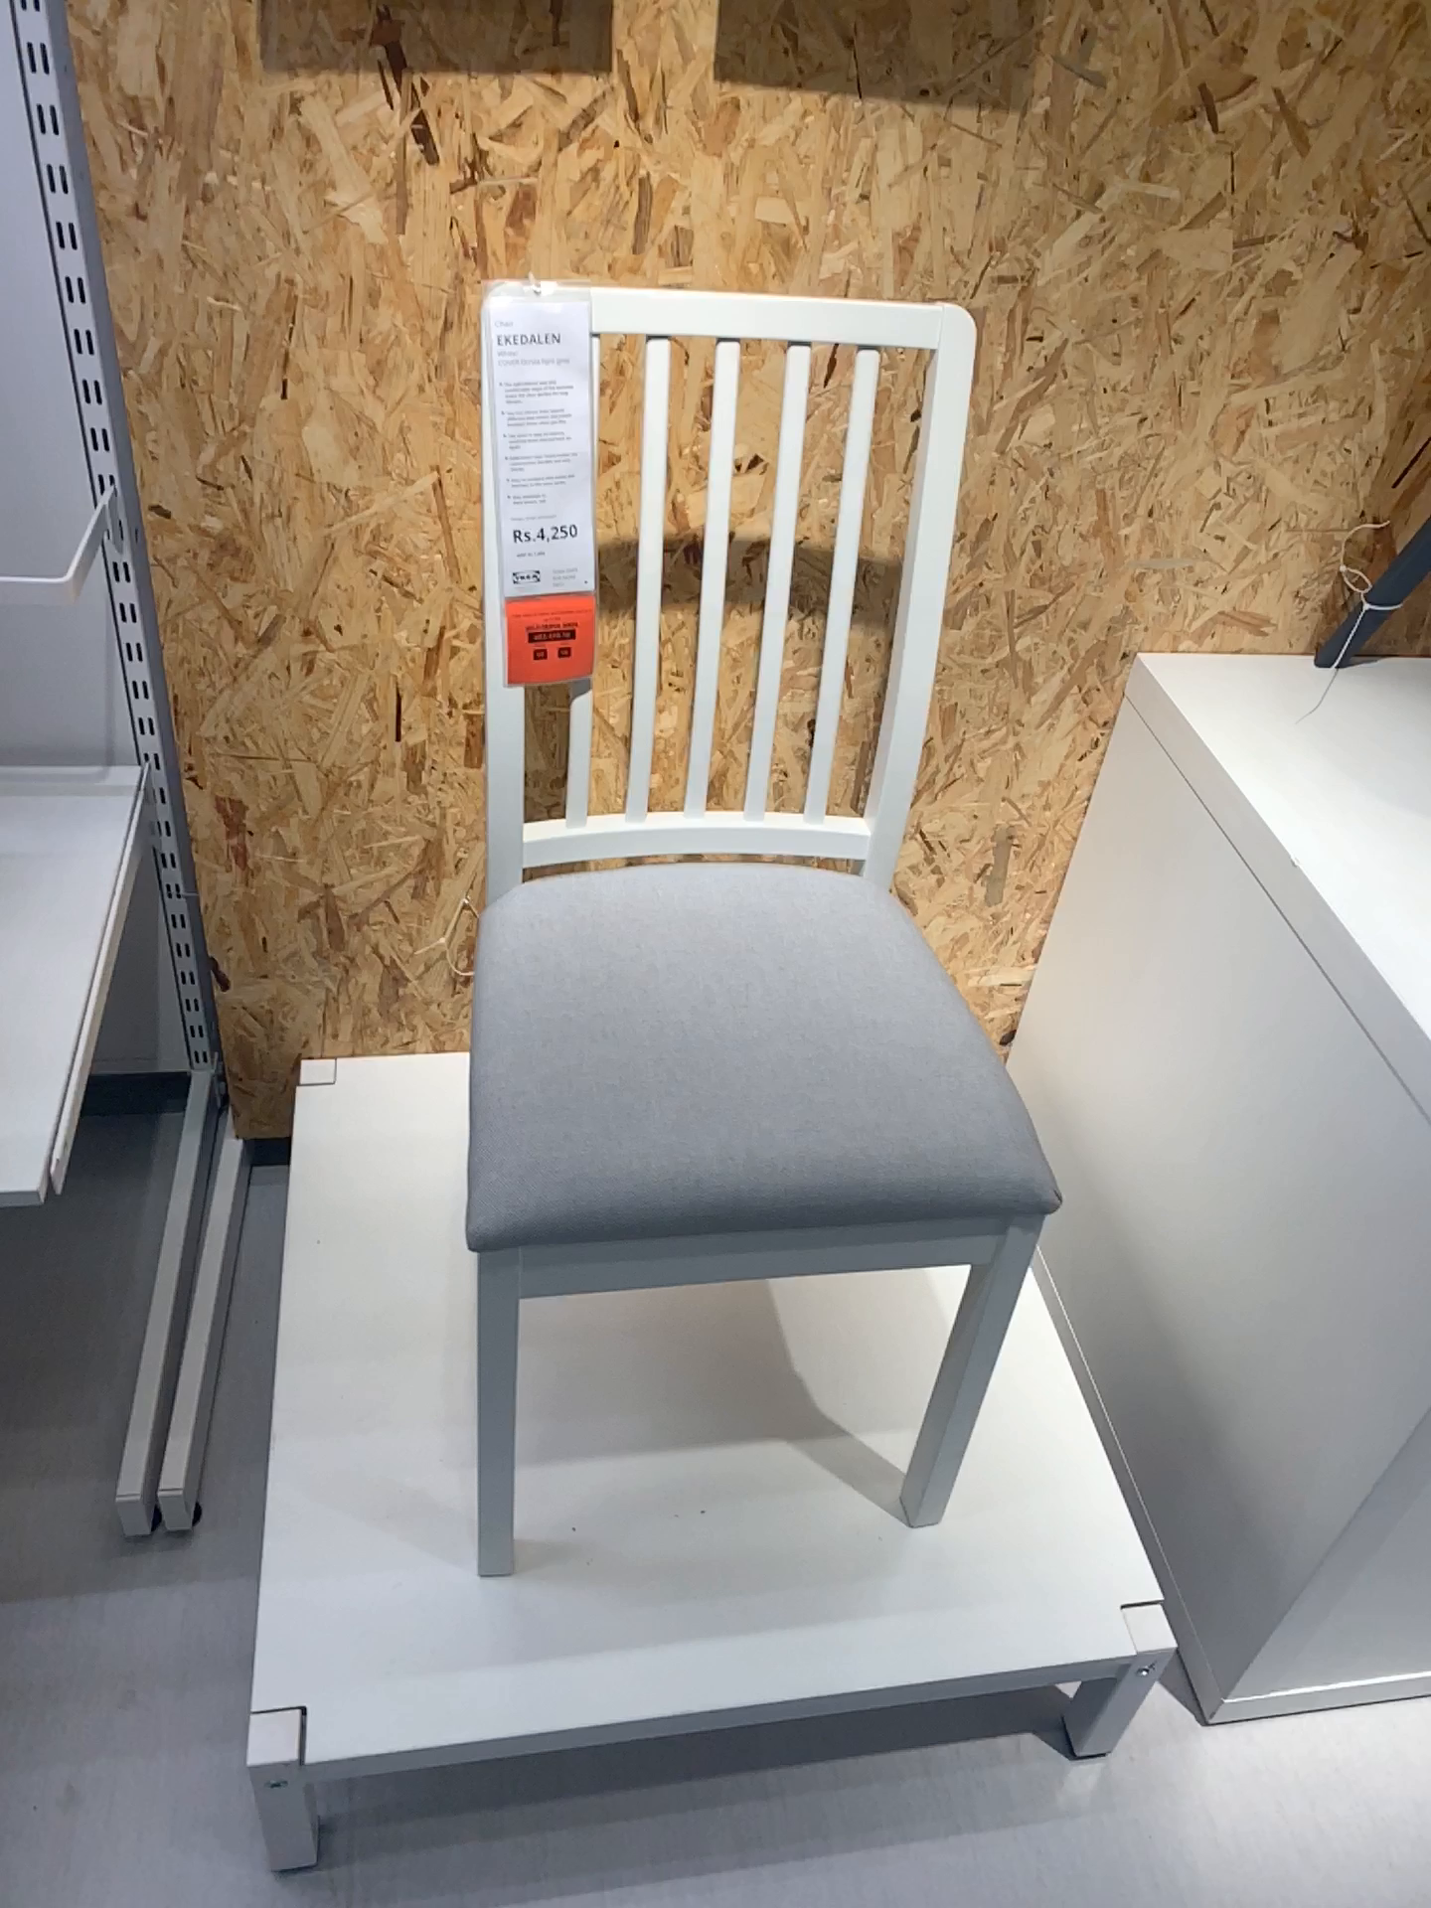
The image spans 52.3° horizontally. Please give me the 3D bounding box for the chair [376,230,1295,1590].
[{"bbox_3d":[-0.017,0.014,1.176,0.450,0.956,0.492,-2,40,-11],"label":"chair"}]
